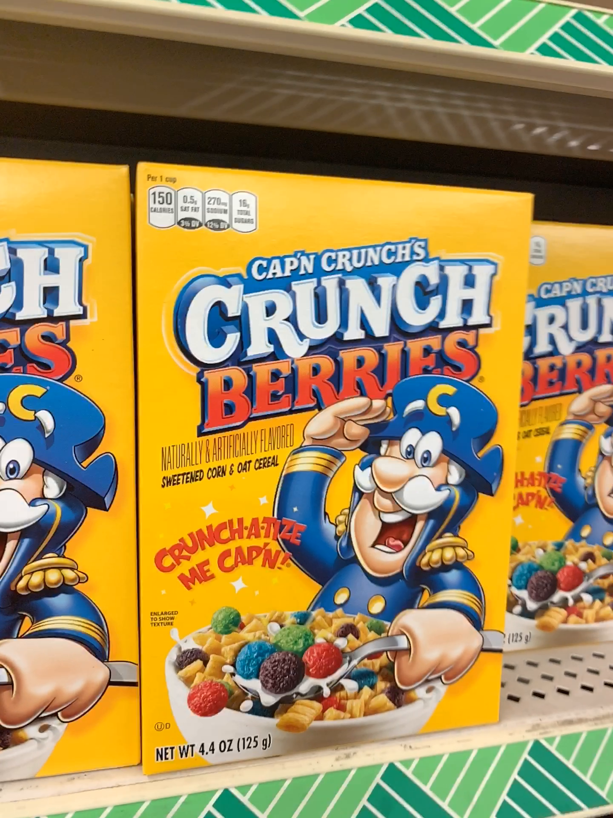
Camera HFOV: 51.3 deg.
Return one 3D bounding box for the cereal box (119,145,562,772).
[{"bbox_3d":[0.010,0.017,0.242,0.150,0.200,0.050,-1,7,-14],"label":"cereal box"}]
